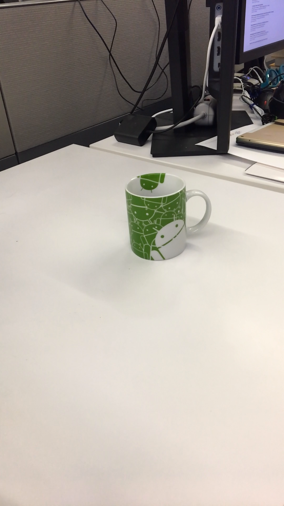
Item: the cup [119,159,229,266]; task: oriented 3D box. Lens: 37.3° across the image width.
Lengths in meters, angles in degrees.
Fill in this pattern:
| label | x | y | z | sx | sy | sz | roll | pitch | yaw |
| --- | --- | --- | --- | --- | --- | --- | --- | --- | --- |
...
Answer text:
| label | x | y | z | sx | sy | sz | roll | pitch | yaw |
| --- | --- | --- | --- | --- | --- | --- | --- | --- | --- |
| cup | 0.042 | -0.058 | 0.563 | 0.110 | 0.090 | 0.090 | -18 | 35 | -21 |
